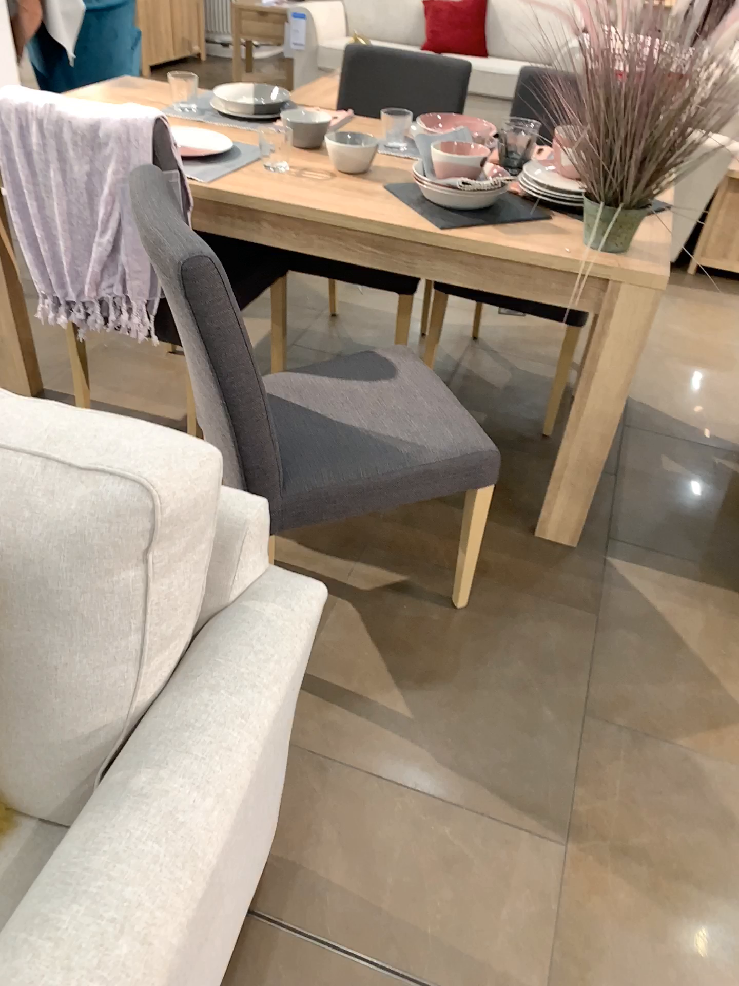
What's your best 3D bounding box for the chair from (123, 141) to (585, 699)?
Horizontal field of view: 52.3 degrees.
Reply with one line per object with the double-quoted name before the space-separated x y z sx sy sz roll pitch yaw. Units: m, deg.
"chair" -0.085 -0.148 1.495 0.615 0.889 0.510 -10 41 -19
